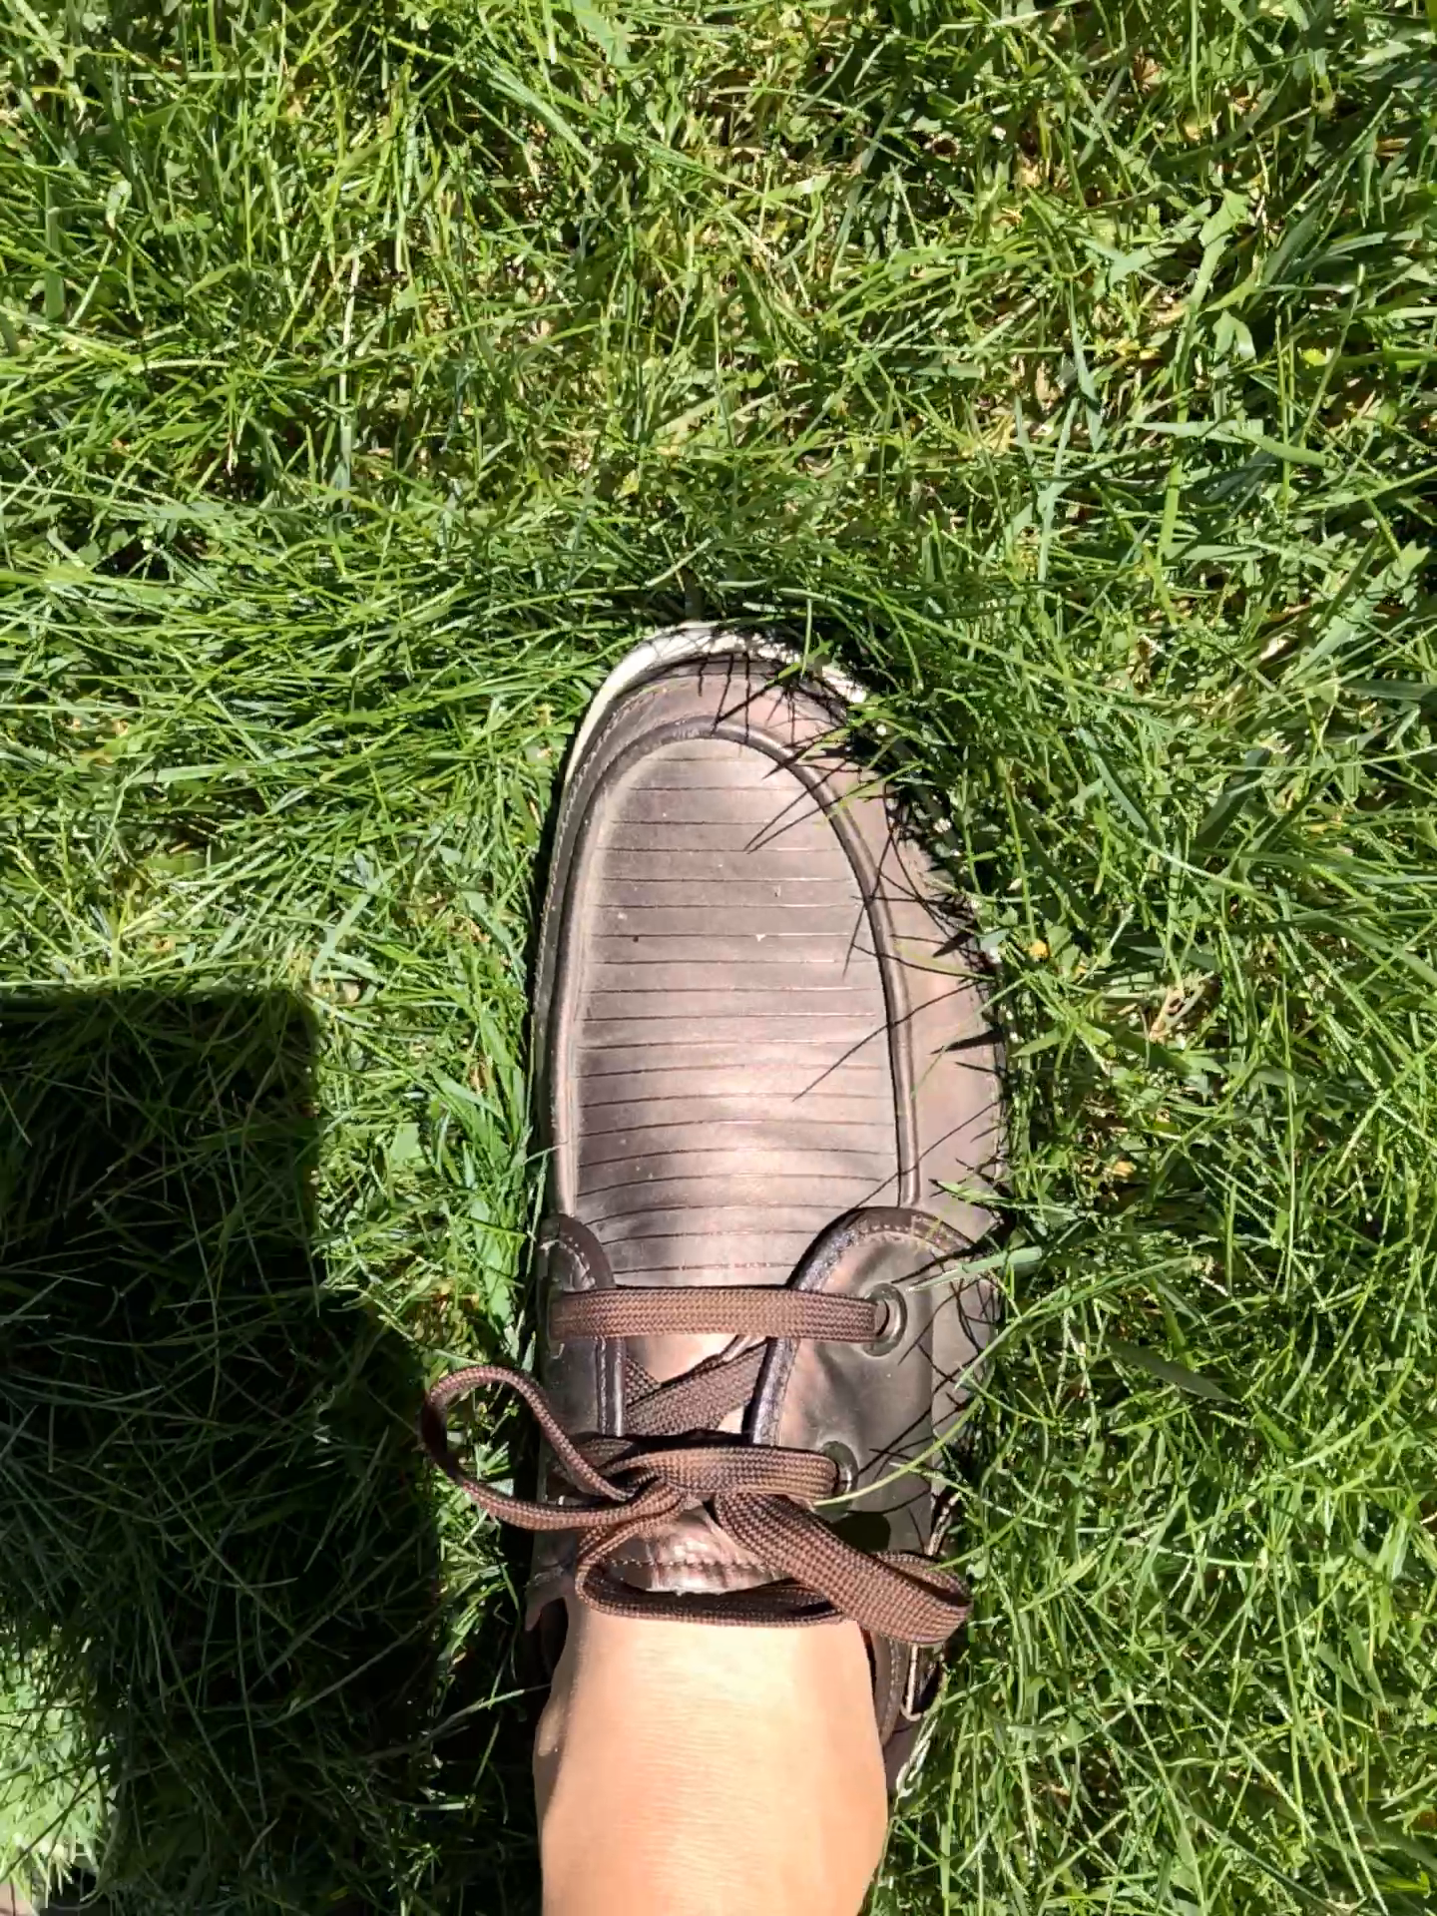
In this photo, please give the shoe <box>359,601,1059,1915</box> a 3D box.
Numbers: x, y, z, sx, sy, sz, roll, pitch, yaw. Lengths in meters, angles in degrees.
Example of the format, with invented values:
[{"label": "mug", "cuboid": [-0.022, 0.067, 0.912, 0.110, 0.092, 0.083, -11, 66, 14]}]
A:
[{"label": "shoe", "cuboid": [0.006, 0.075, 0.335, 0.110, 0.107, 0.293, 3, 103, 14]}]
